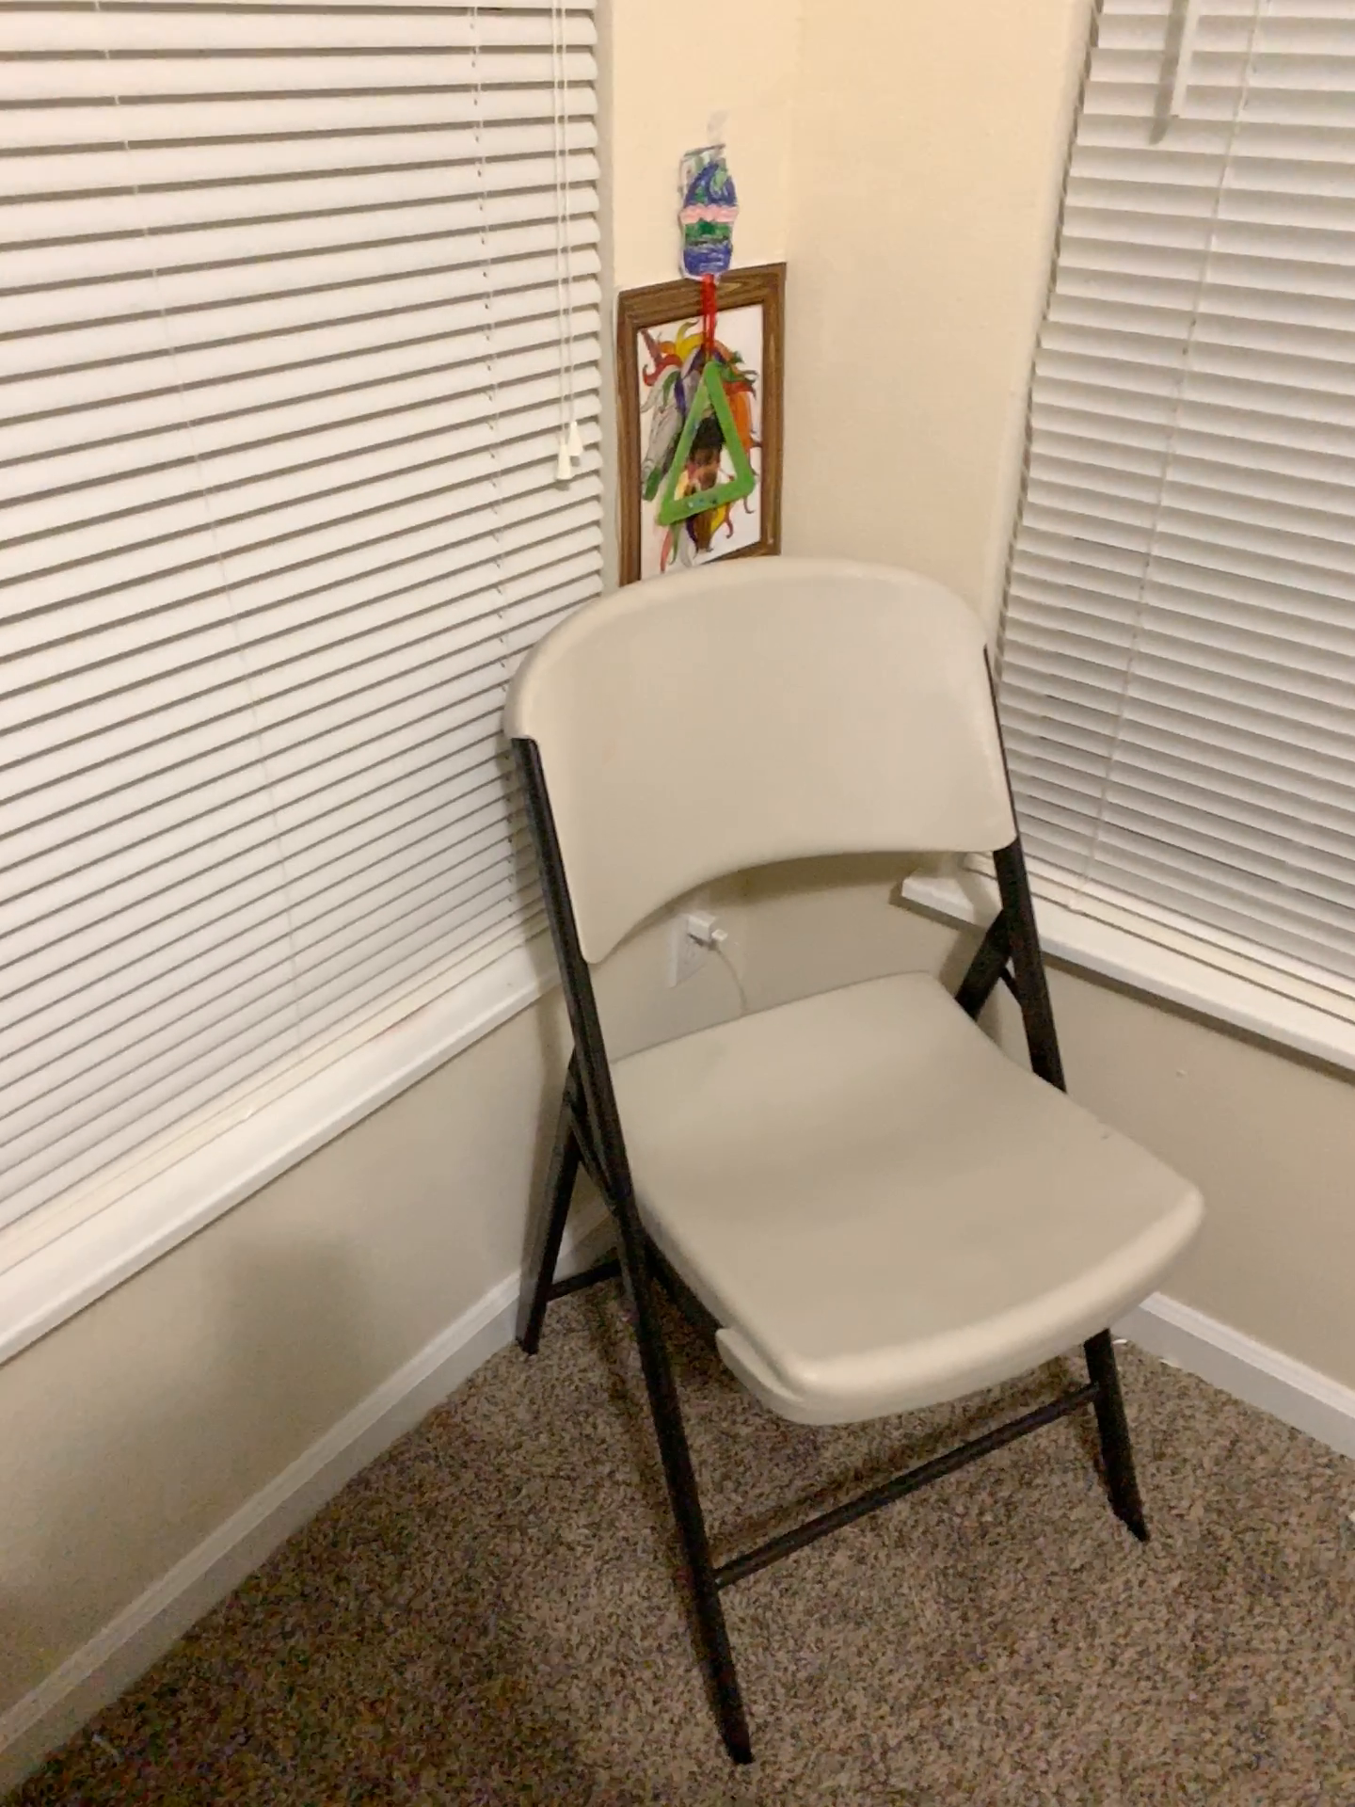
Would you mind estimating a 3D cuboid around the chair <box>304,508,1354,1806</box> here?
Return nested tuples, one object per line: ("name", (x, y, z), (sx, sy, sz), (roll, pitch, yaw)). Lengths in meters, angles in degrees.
("chair", (0.101, 0.170, 1.246), (0.611, 0.816, 0.683), (-14, 34, -24))
